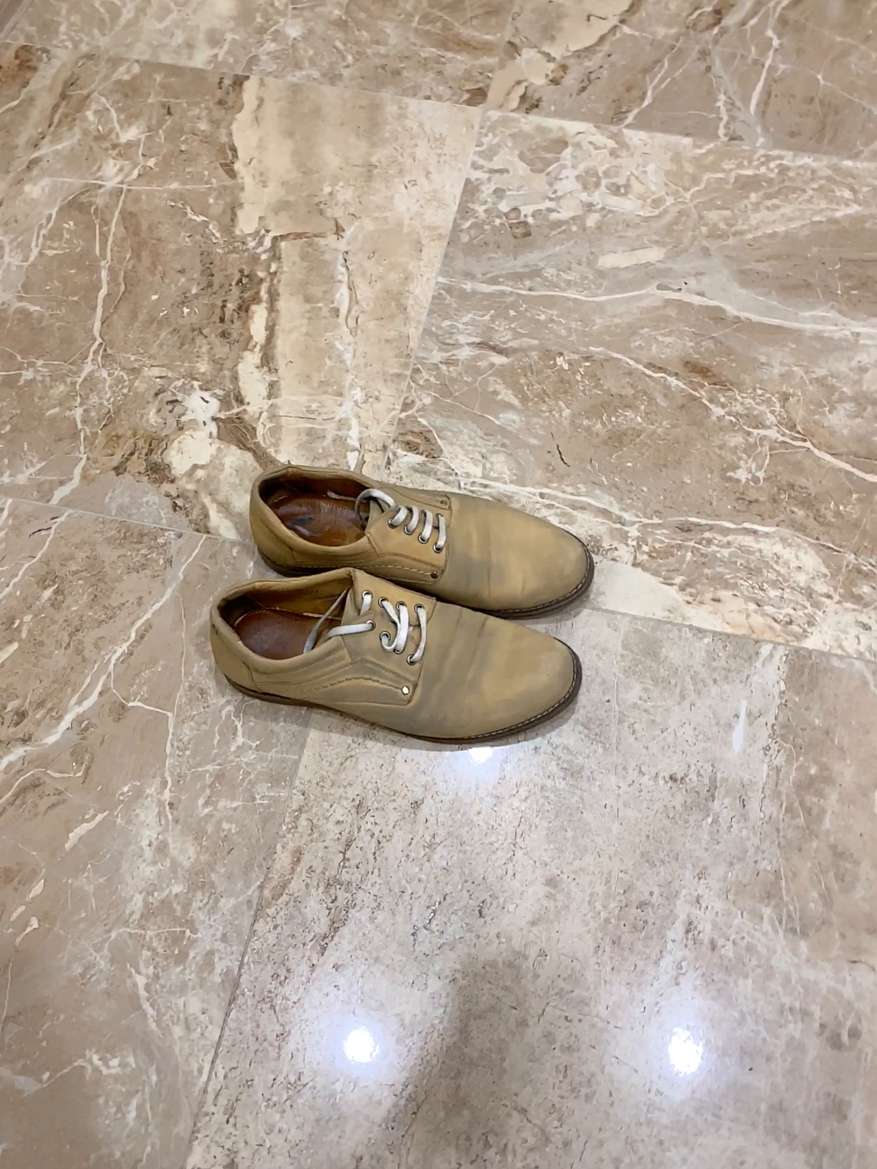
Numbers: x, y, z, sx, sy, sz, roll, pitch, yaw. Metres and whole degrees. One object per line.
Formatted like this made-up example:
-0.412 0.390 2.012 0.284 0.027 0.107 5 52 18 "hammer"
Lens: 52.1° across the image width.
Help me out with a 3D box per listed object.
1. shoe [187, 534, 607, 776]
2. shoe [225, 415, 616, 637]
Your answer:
-0.026 0.053 0.671 0.280 0.080 0.110 10 64 4 "shoe"
-0.011 -0.046 0.711 0.280 0.070 0.110 10 64 4 "shoe"
